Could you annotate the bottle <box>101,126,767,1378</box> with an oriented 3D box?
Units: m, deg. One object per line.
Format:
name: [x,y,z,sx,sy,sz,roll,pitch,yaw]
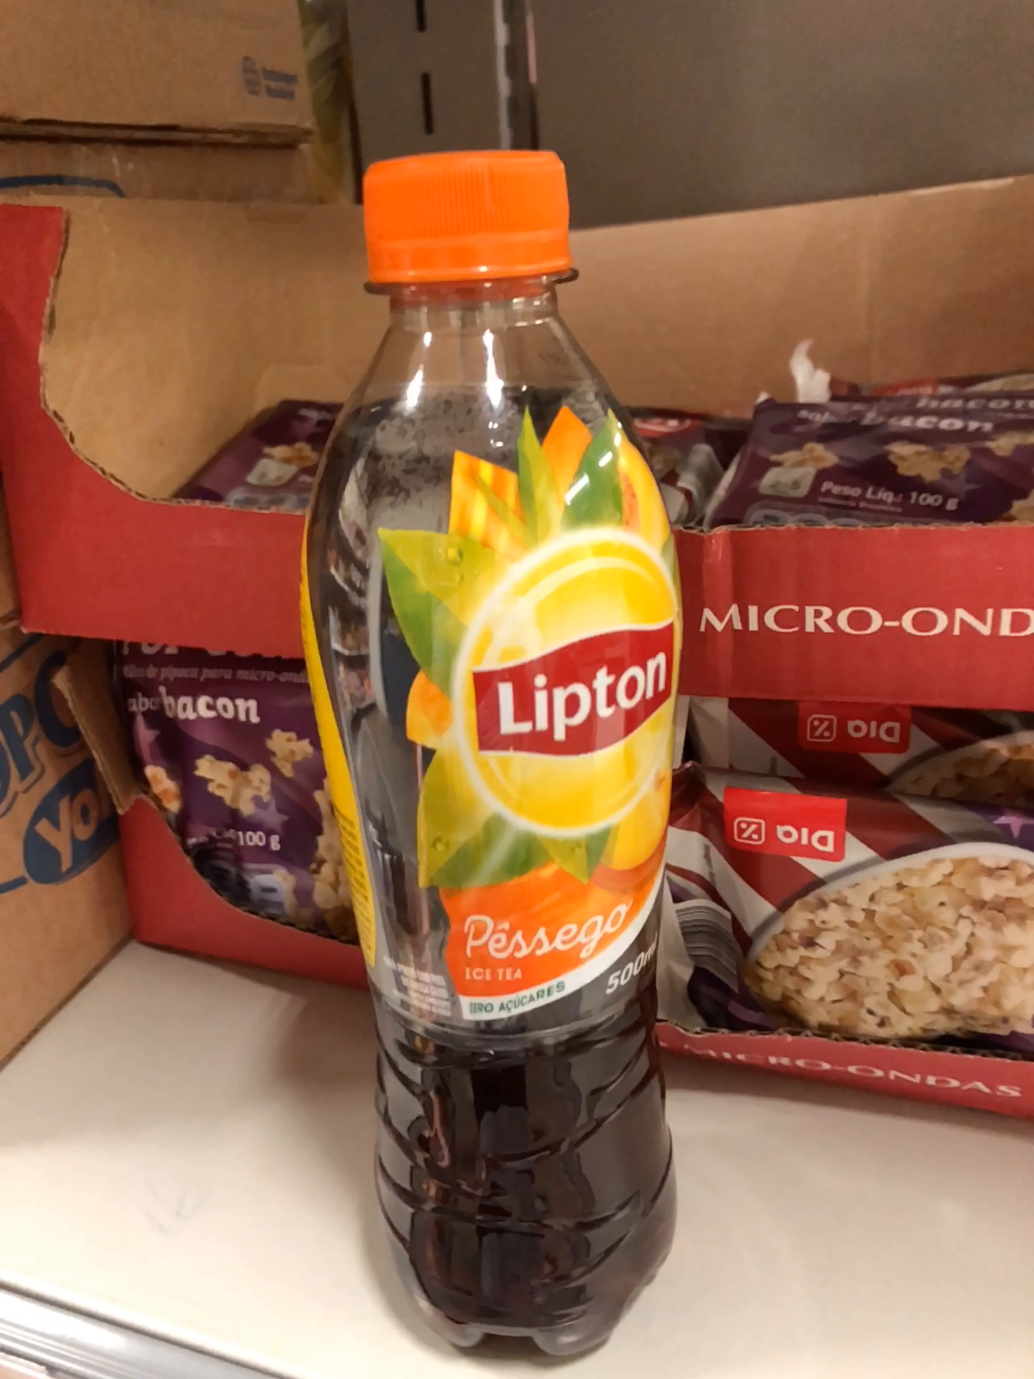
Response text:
bottle: [-0.008,0.022,0.211,0.070,0.219,0.070,-3,26,2]
